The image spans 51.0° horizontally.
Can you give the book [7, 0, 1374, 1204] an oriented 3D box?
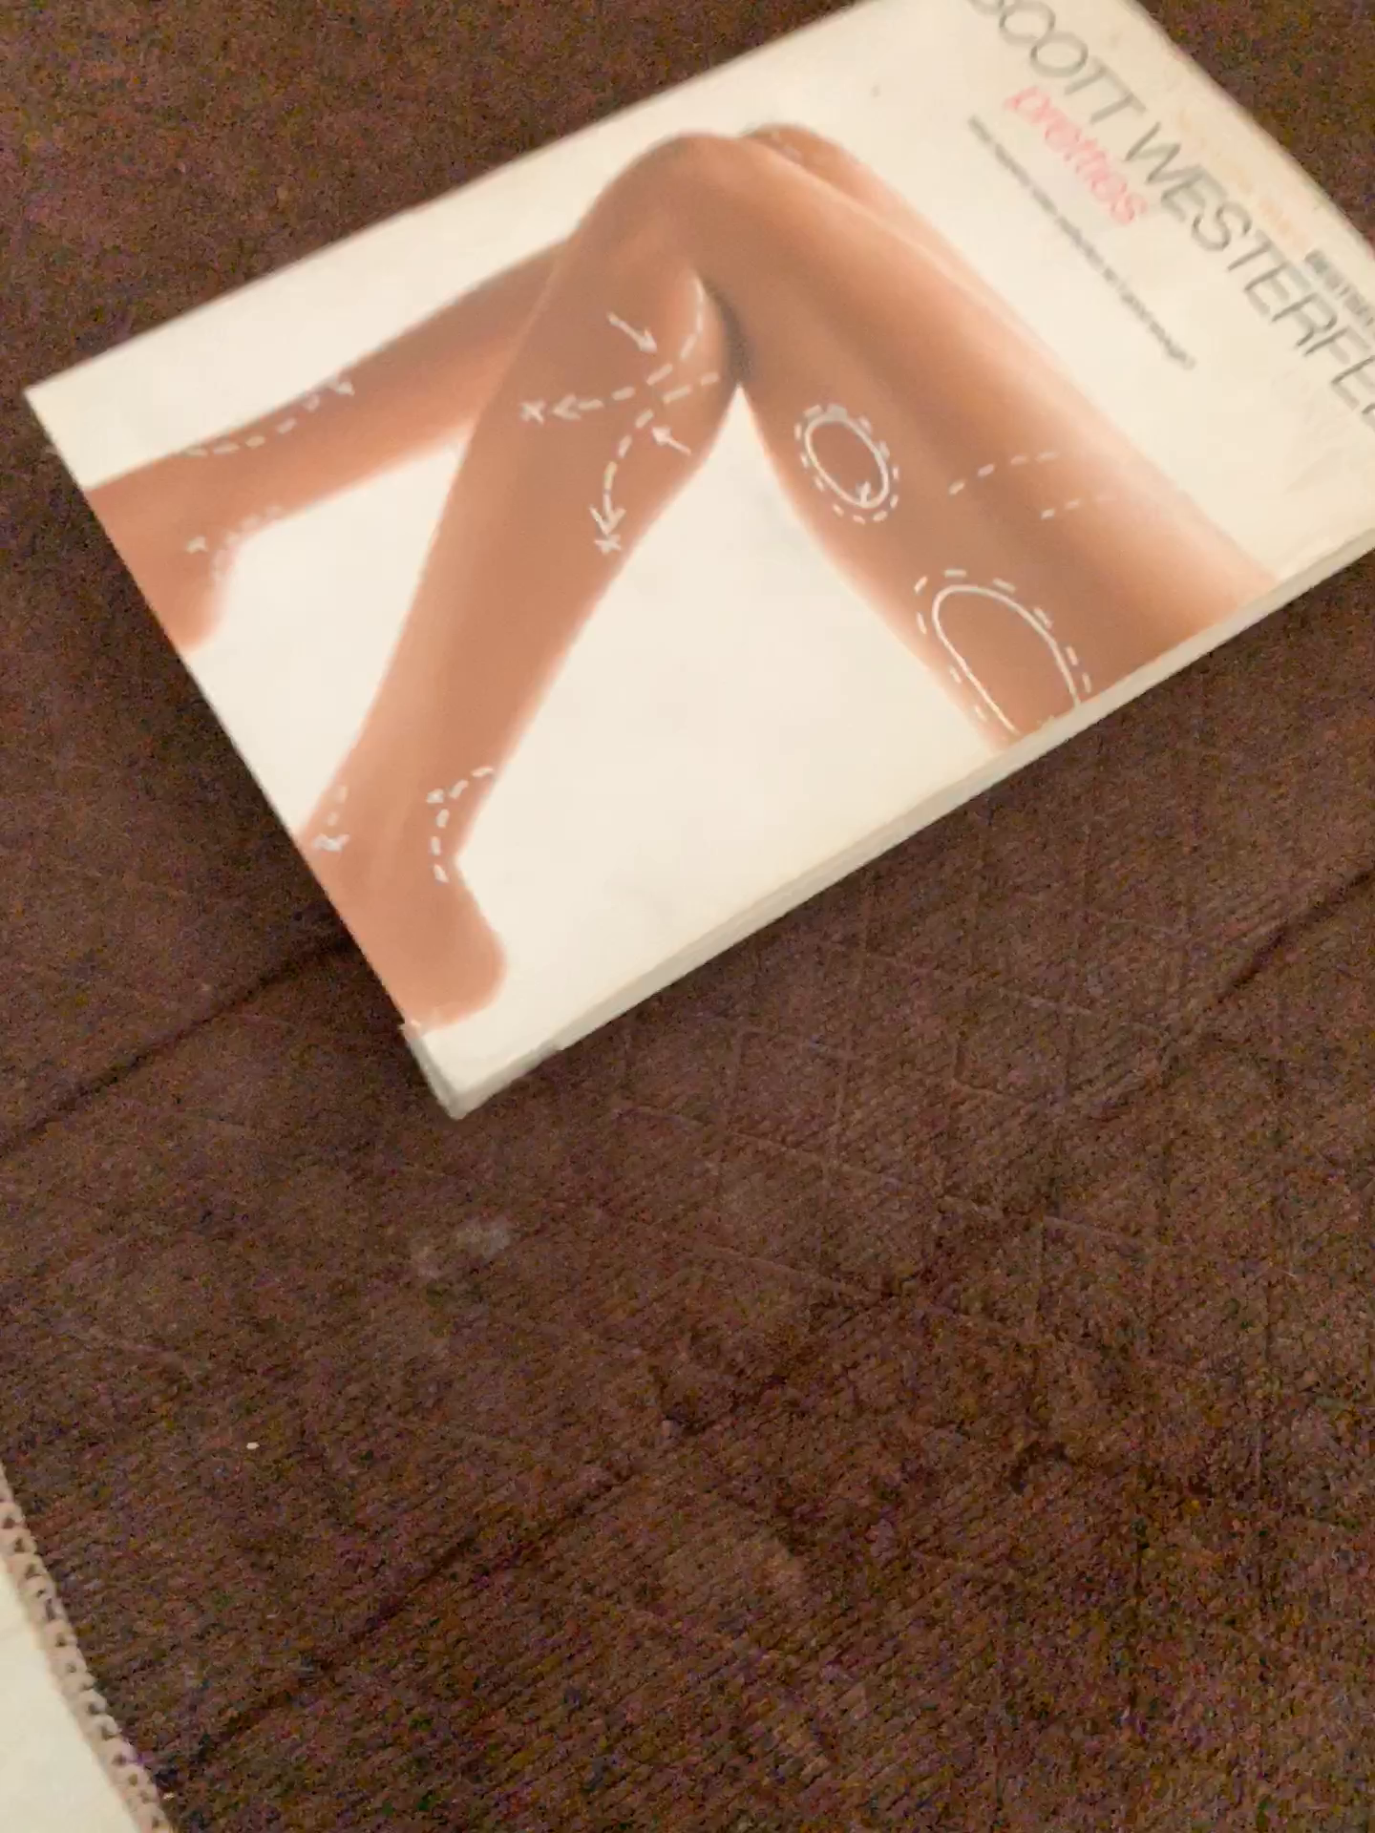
[{"bbox_3d":[0.024,-0.077,0.246,0.220,0.030,0.150,-31,74,-11],"label":"book"}]
